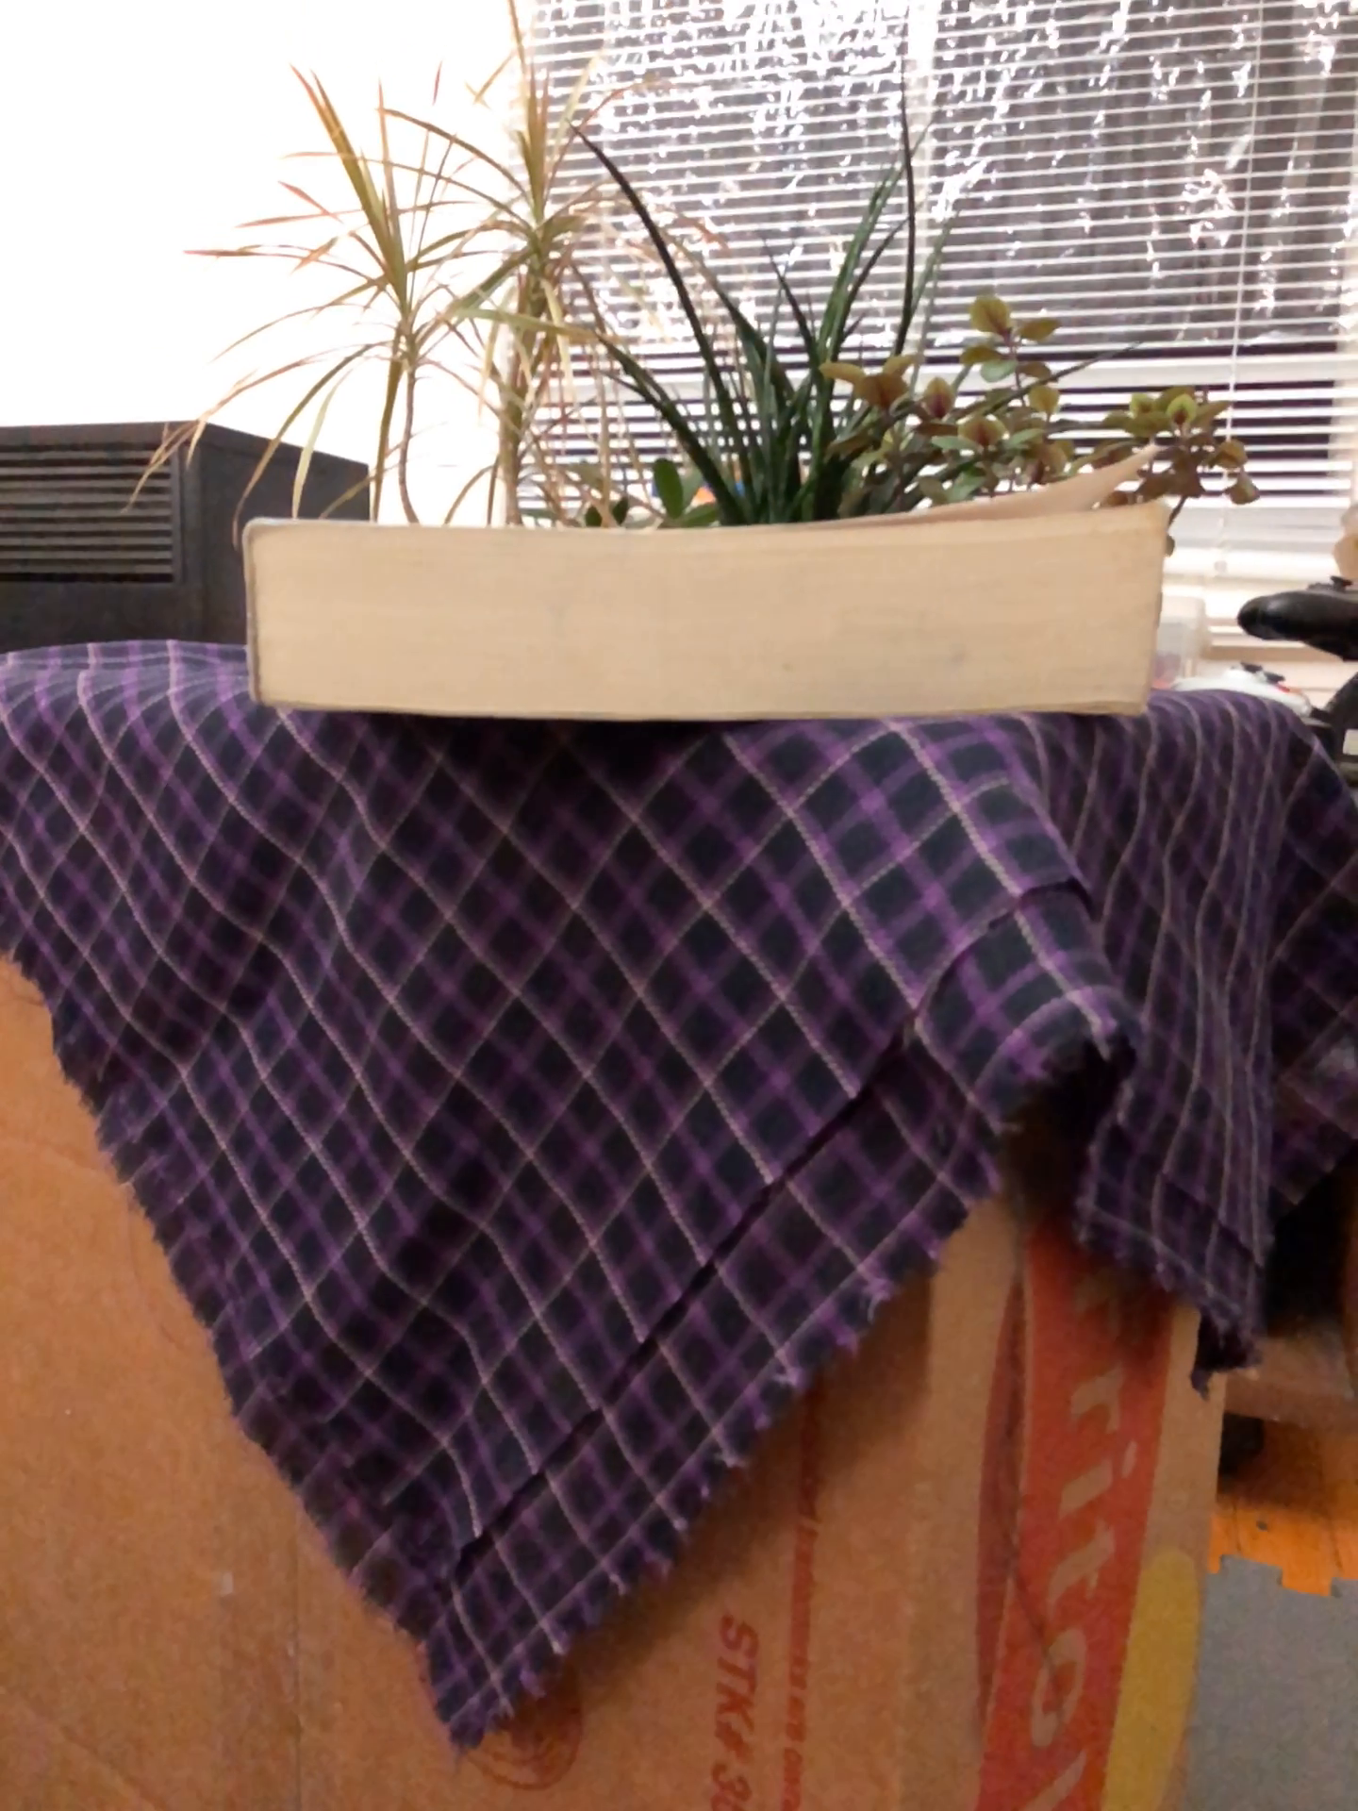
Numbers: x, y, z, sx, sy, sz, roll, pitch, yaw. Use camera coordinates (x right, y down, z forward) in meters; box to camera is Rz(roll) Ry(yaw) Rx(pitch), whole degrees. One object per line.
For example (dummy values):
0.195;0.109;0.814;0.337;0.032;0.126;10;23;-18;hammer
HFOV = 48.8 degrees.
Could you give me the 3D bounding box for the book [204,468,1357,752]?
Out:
0.012;-0.067;0.374;0.200;0.040;0.261;0;9;-6;book
